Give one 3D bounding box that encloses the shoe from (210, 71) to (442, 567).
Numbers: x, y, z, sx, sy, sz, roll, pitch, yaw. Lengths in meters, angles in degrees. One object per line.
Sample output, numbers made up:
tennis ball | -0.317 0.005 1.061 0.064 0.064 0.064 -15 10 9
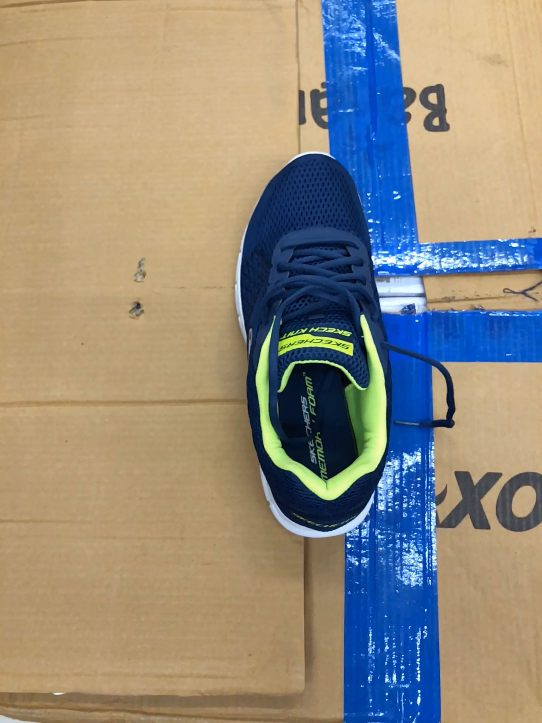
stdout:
shoe | 0.030 -0.023 0.410 0.110 0.130 0.290 -4 76 3
